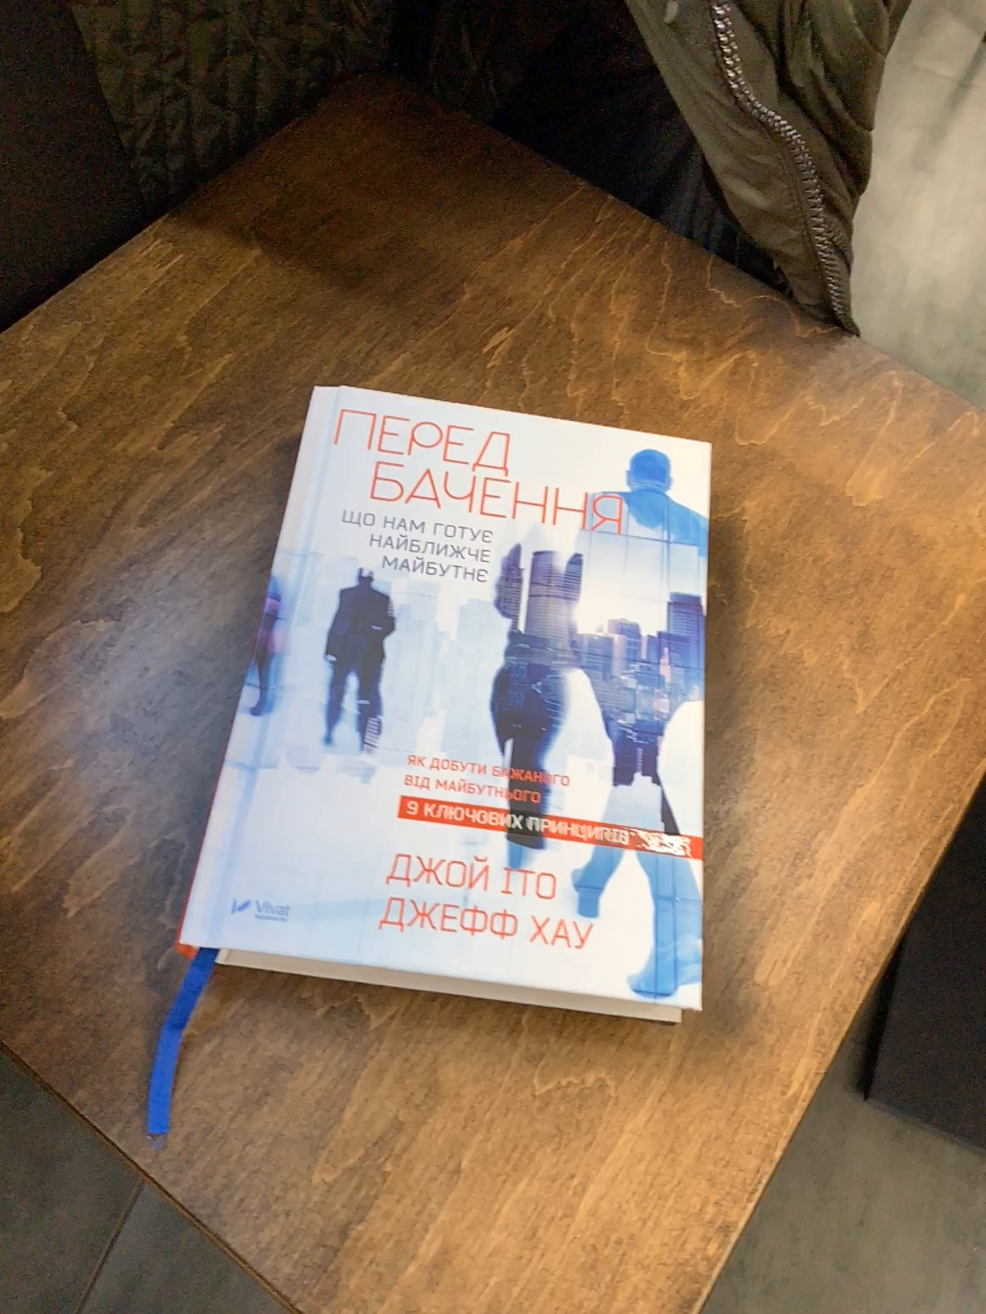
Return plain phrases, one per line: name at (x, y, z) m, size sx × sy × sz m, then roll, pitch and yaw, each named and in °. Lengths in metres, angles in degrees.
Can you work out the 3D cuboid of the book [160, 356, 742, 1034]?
book at (-0.002, 0.004, 0.319) m, size 0.149 × 0.040 × 0.196 m, roll 8°, pitch 63°, yaw -3°
